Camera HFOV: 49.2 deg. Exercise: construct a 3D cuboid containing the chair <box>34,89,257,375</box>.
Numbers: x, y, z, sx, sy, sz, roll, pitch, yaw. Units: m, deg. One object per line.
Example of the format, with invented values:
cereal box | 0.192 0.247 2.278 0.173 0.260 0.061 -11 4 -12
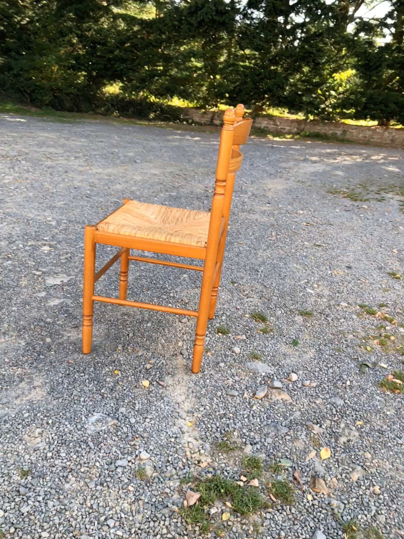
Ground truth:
chair | -0.131 -0.156 1.409 0.520 0.736 0.513 6 24 6
